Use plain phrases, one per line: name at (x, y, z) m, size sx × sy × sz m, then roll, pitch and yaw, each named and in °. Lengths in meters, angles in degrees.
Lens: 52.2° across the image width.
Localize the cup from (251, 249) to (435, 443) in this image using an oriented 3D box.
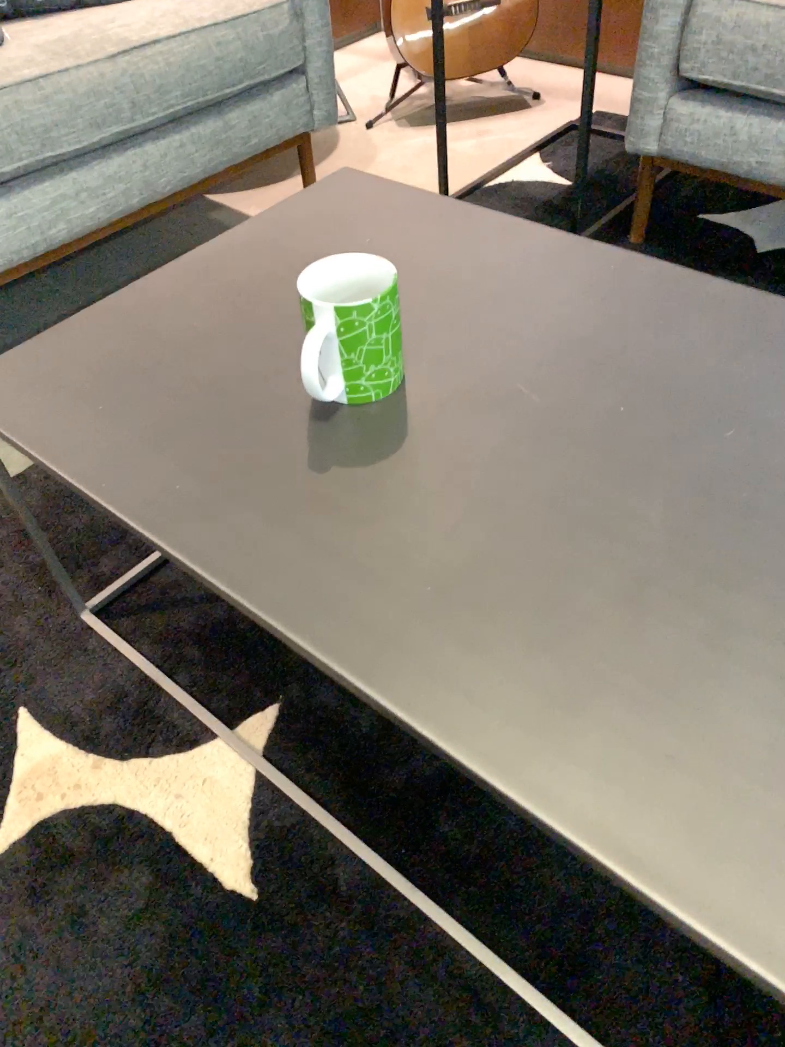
cup at (-0.035, -0.149, 0.662) m, size 0.100 × 0.090 × 0.120 m, roll 15°, pitch 50°, yaw 19°
